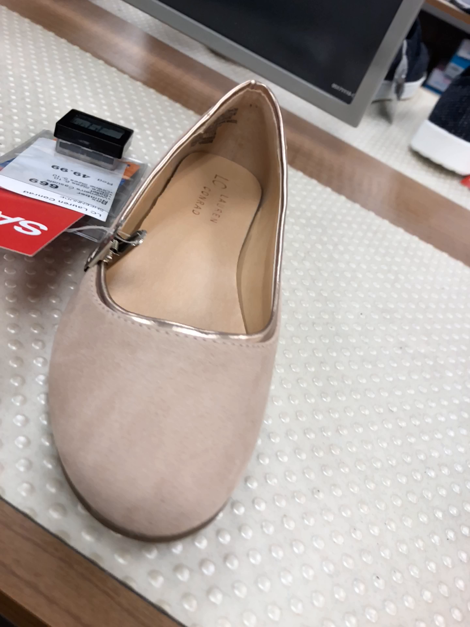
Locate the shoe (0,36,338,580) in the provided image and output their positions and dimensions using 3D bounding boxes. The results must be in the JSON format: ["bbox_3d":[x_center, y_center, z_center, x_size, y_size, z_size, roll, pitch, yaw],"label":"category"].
[{"bbox_3d":[-0.013,-0.034,0.211,0.085,0.064,0.229,20,41,-7],"label":"shoe"}]
